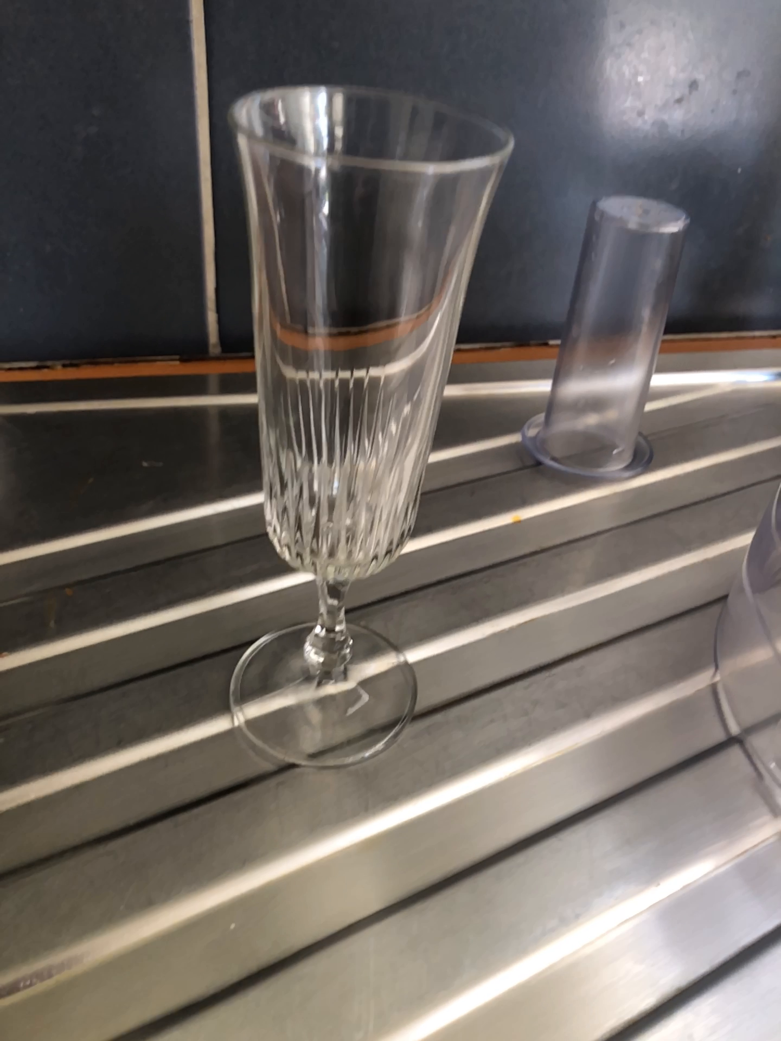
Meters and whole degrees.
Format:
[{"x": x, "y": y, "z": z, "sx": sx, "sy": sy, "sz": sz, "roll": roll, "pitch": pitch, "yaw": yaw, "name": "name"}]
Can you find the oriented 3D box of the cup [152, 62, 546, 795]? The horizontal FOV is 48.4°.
[{"x": -0.011, "y": -0.014, "z": 0.222, "sx": 0.060, "sy": 0.169, "sz": 0.060, "roll": 4, "pitch": 37, "yaw": -3, "name": "cup"}]
